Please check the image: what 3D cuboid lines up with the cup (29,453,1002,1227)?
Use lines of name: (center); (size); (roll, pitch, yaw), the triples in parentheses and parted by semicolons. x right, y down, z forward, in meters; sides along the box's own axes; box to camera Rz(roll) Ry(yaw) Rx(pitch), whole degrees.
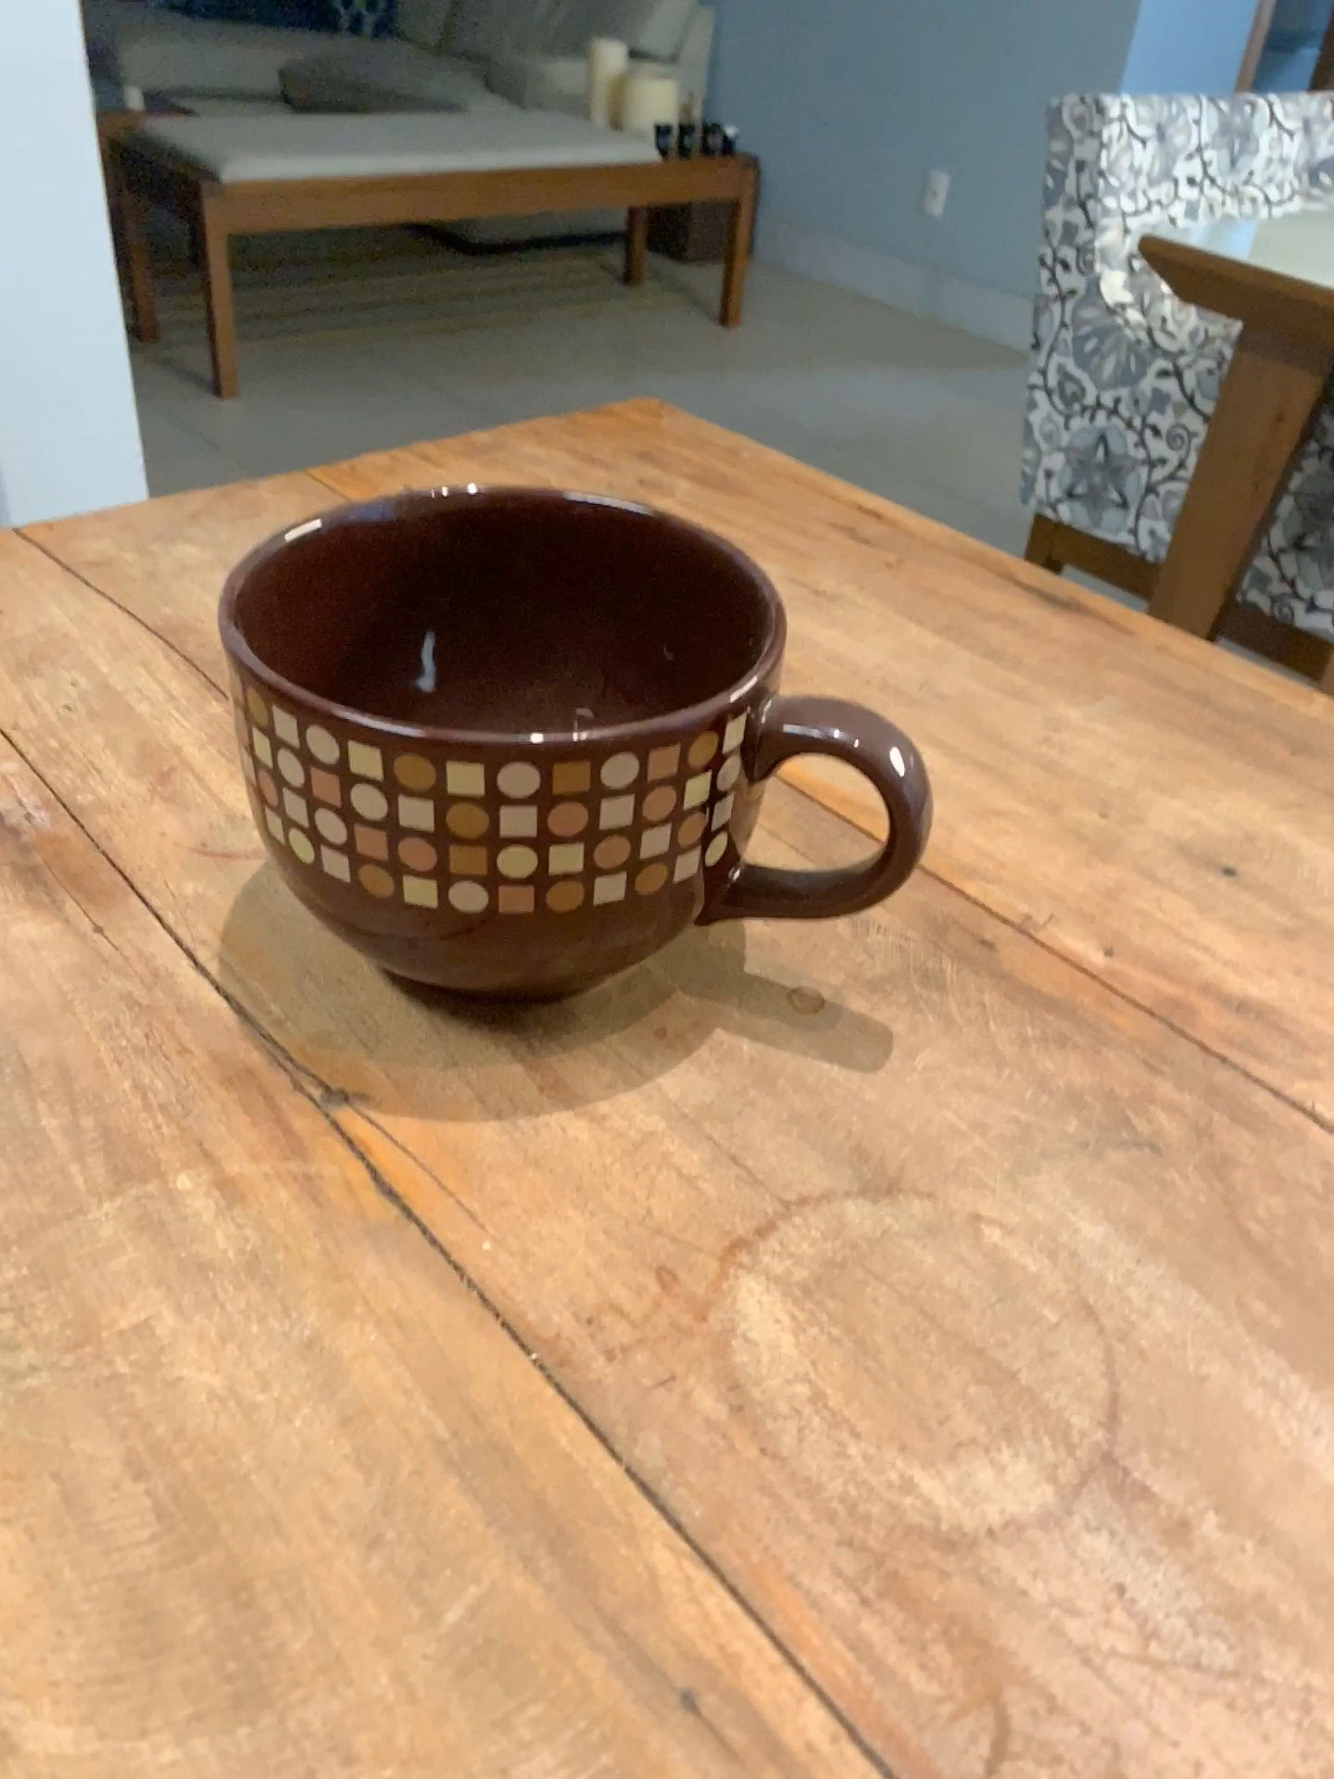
cup: (-0.028, -0.026, 0.344); (0.180, 0.089, 0.141); (17, 38, 14)
